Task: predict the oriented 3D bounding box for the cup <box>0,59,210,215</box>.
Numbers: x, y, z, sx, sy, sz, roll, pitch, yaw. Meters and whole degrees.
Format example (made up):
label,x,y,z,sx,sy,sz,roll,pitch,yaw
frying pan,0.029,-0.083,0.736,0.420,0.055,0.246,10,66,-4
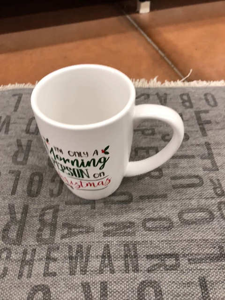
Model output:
label,x,y,z,sx,sy,sz,roll,pitch,yaw
cup,-0.003,-0.011,0.230,0.140,0.100,0.090,4,49,6
